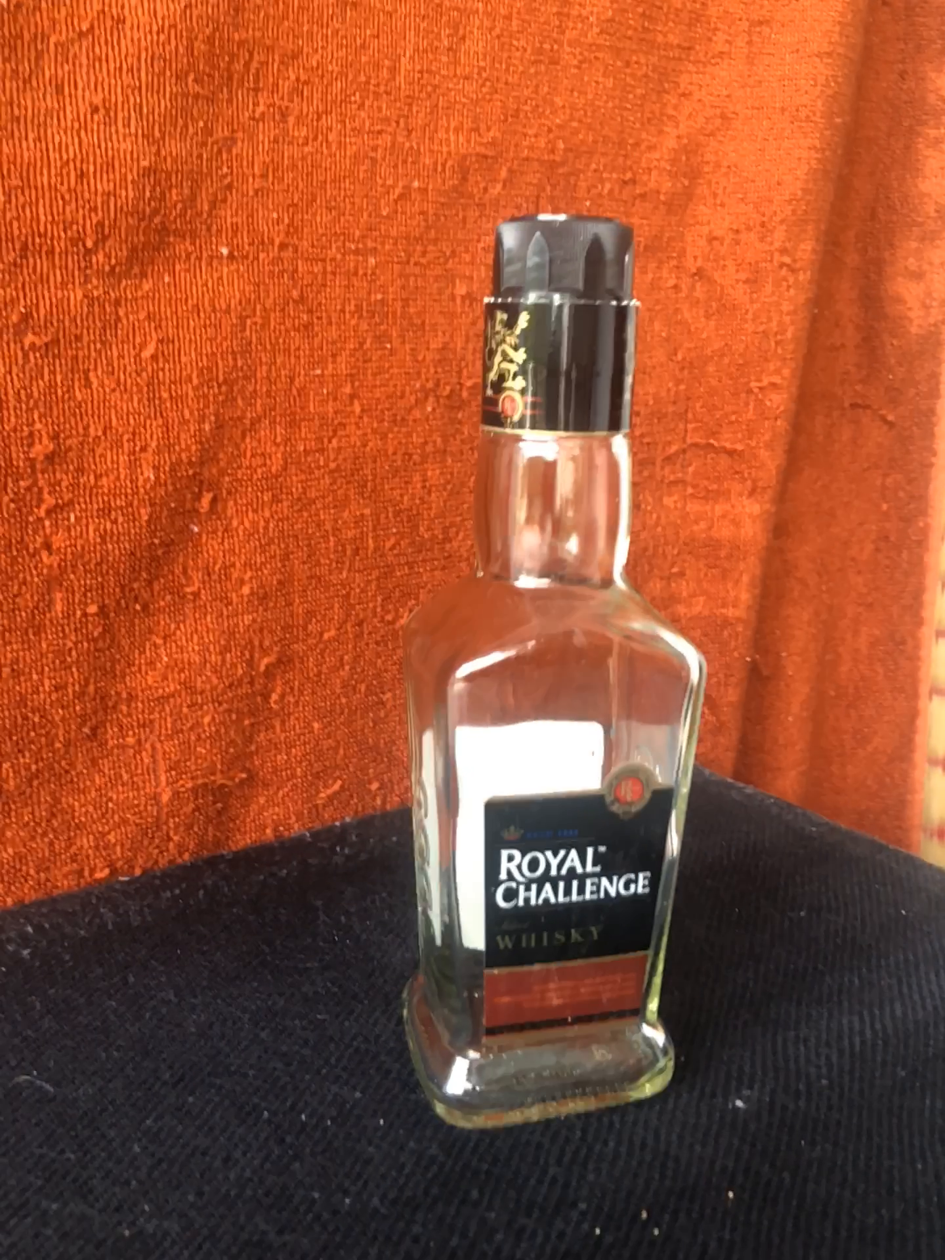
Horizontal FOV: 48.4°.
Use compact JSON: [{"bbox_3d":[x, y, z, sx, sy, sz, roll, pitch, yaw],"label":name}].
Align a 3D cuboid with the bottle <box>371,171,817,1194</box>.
[{"bbox_3d":[0.017,0.014,0.216,0.060,0.189,0.050,-1,16,-16],"label":"bottle"}]
